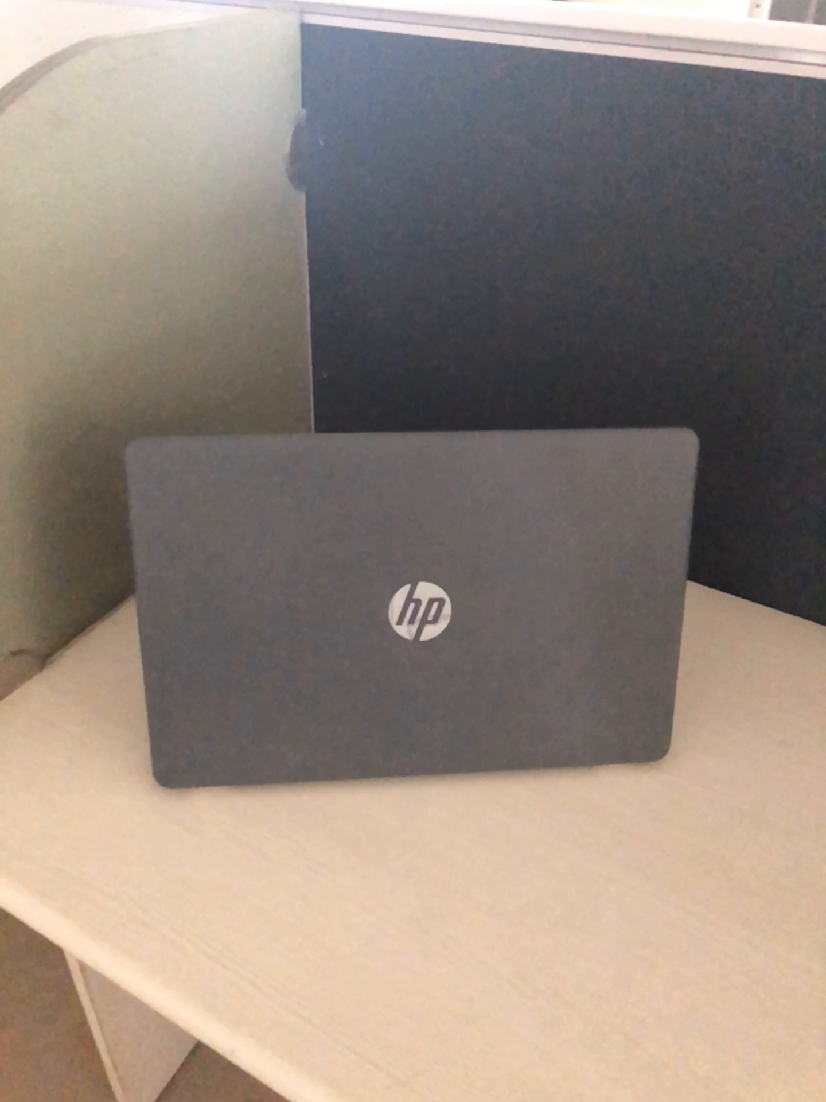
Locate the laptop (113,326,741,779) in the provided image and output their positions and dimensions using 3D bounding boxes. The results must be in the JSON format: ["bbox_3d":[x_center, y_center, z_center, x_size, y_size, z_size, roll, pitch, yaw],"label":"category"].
[{"bbox_3d":[0.000,-0.009,0.673,0.359,0.215,0.239,-2,37,-4],"label":"laptop"}]
